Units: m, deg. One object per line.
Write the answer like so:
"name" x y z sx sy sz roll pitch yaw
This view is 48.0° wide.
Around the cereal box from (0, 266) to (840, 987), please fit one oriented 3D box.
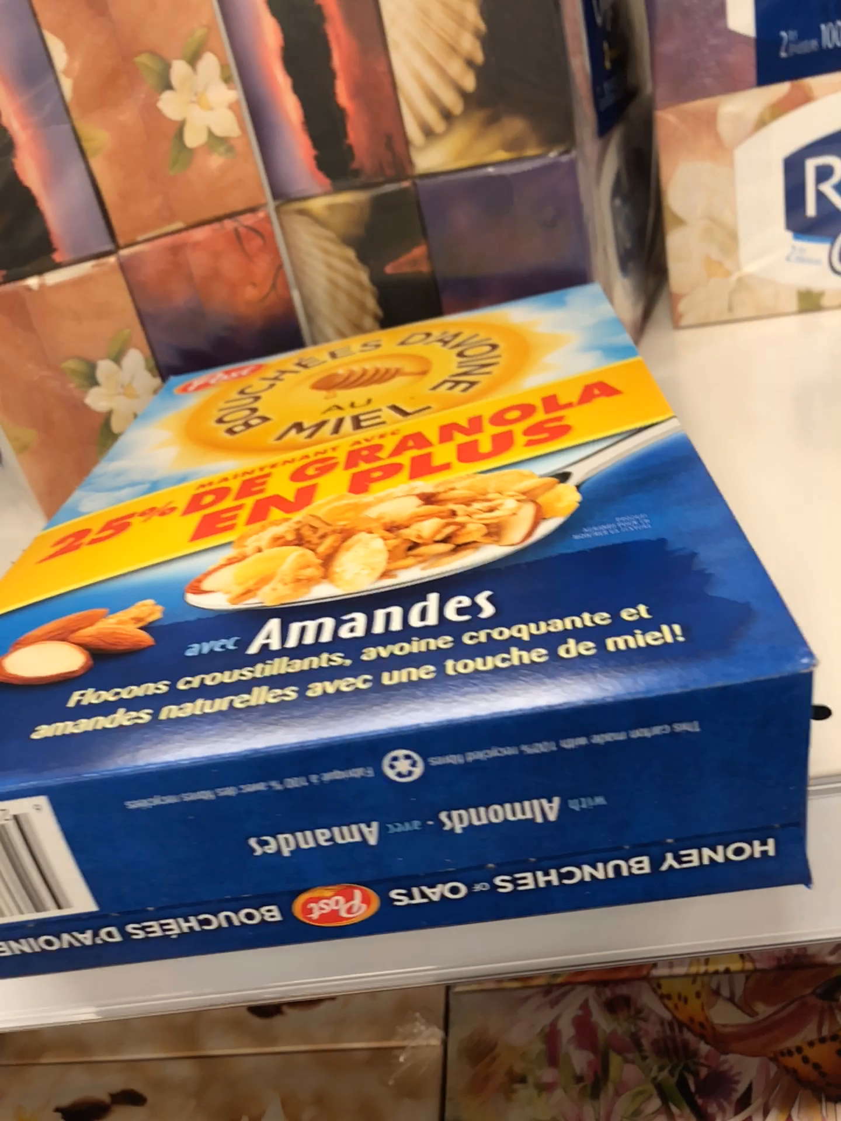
"cereal box" -0.021 -0.015 0.290 0.210 0.050 0.271 -9 28 7
